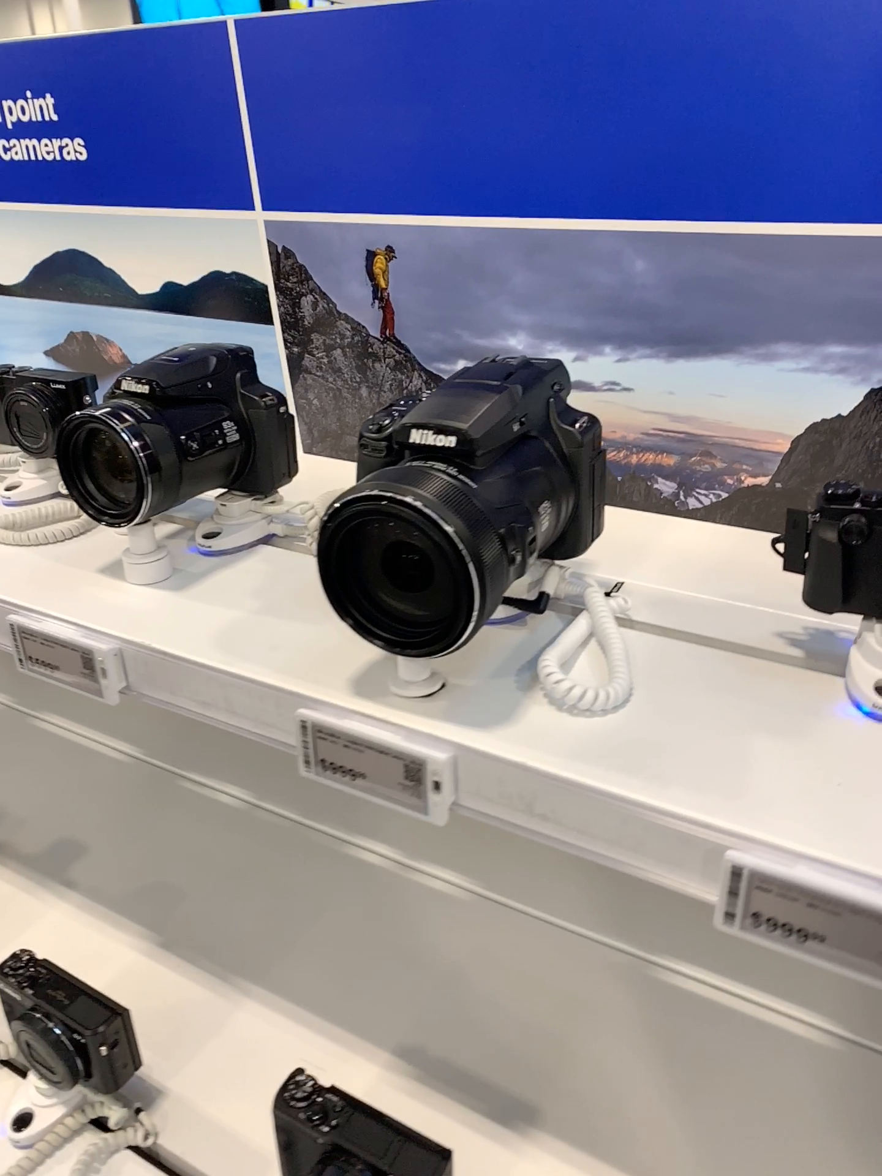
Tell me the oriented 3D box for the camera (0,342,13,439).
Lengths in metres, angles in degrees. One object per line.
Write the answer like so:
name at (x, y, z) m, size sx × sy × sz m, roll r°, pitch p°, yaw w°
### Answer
camera at (-0.464, -0.182, 0.825) m, size 0.120 × 0.070 × 0.050 m, roll 8°, pitch 27°, yaw 20°

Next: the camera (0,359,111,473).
camera at (-0.335, -0.143, 0.740) m, size 0.110 × 0.070 × 0.050 m, roll 12°, pitch 29°, yaw 27°

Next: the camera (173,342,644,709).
camera at (-0.002, -0.055, 0.500) m, size 0.160 × 0.109 × 0.221 m, roll 12°, pitch 29°, yaw 26°

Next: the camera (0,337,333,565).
camera at (-0.187, -0.104, 0.625) m, size 0.160 × 0.099 × 0.151 m, roll 12°, pitch 29°, yaw 27°

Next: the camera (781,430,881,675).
camera at (0.242, -0.021, 0.450) m, size 0.120 × 0.089 × 0.060 m, roll 10°, pitch 28°, yaw 22°
